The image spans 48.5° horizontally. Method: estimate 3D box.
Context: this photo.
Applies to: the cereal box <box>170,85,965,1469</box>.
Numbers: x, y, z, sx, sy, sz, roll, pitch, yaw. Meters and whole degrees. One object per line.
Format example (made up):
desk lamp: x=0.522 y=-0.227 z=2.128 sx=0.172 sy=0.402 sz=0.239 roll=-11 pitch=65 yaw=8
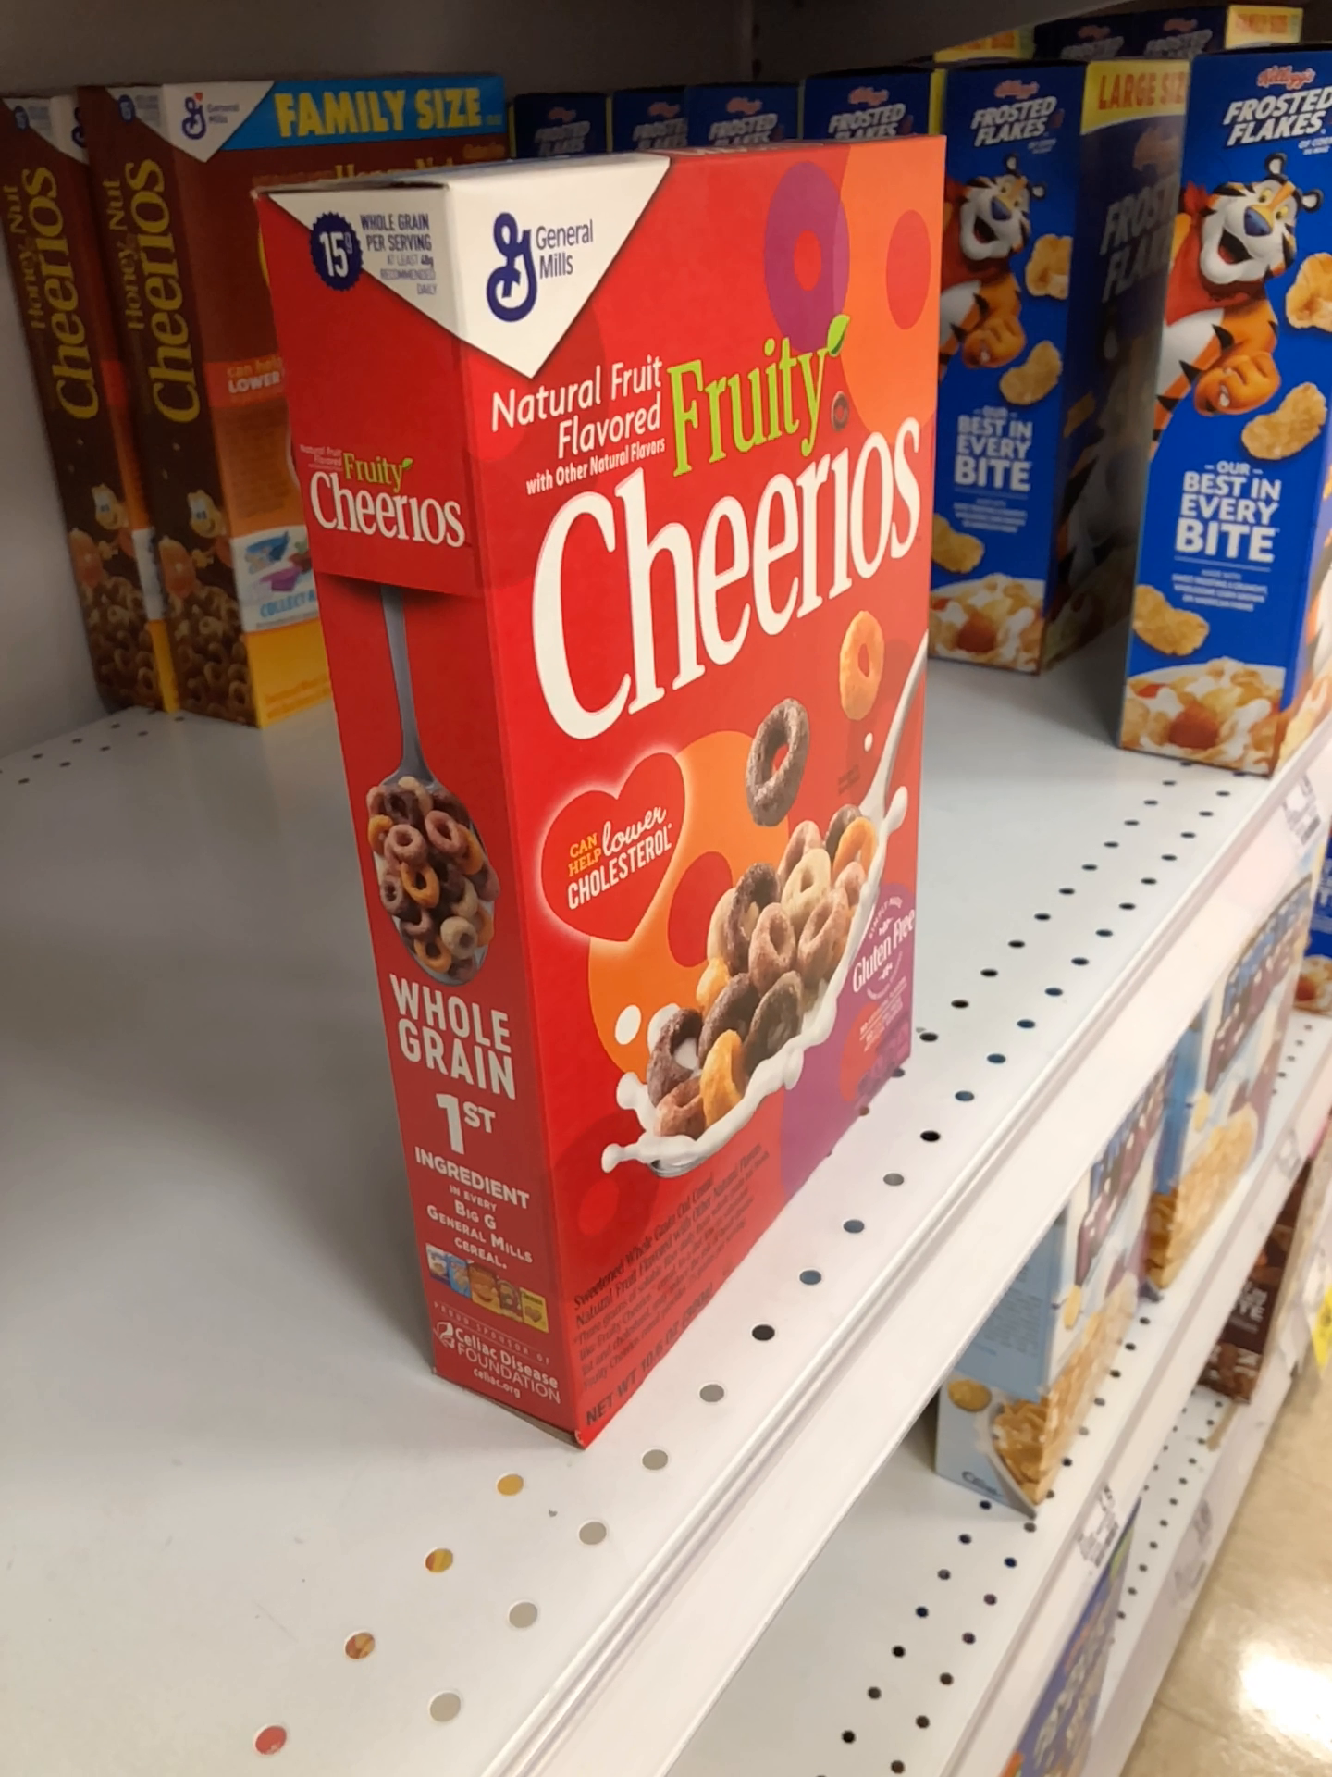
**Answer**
cereal box: x=0.001 y=-0.036 z=0.376 sx=0.060 sy=0.289 sz=0.200 roll=15 pitch=33 yaw=29
